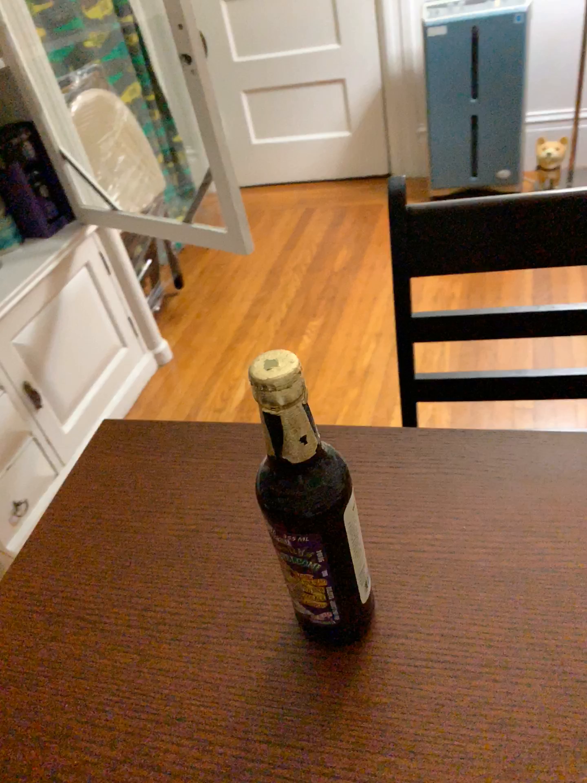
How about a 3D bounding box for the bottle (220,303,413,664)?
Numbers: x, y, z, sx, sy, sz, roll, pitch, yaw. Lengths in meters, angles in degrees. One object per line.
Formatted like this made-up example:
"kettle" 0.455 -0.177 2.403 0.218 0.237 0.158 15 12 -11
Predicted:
"bottle" 0.021 0.069 0.365 0.070 0.229 0.070 -8 40 7
